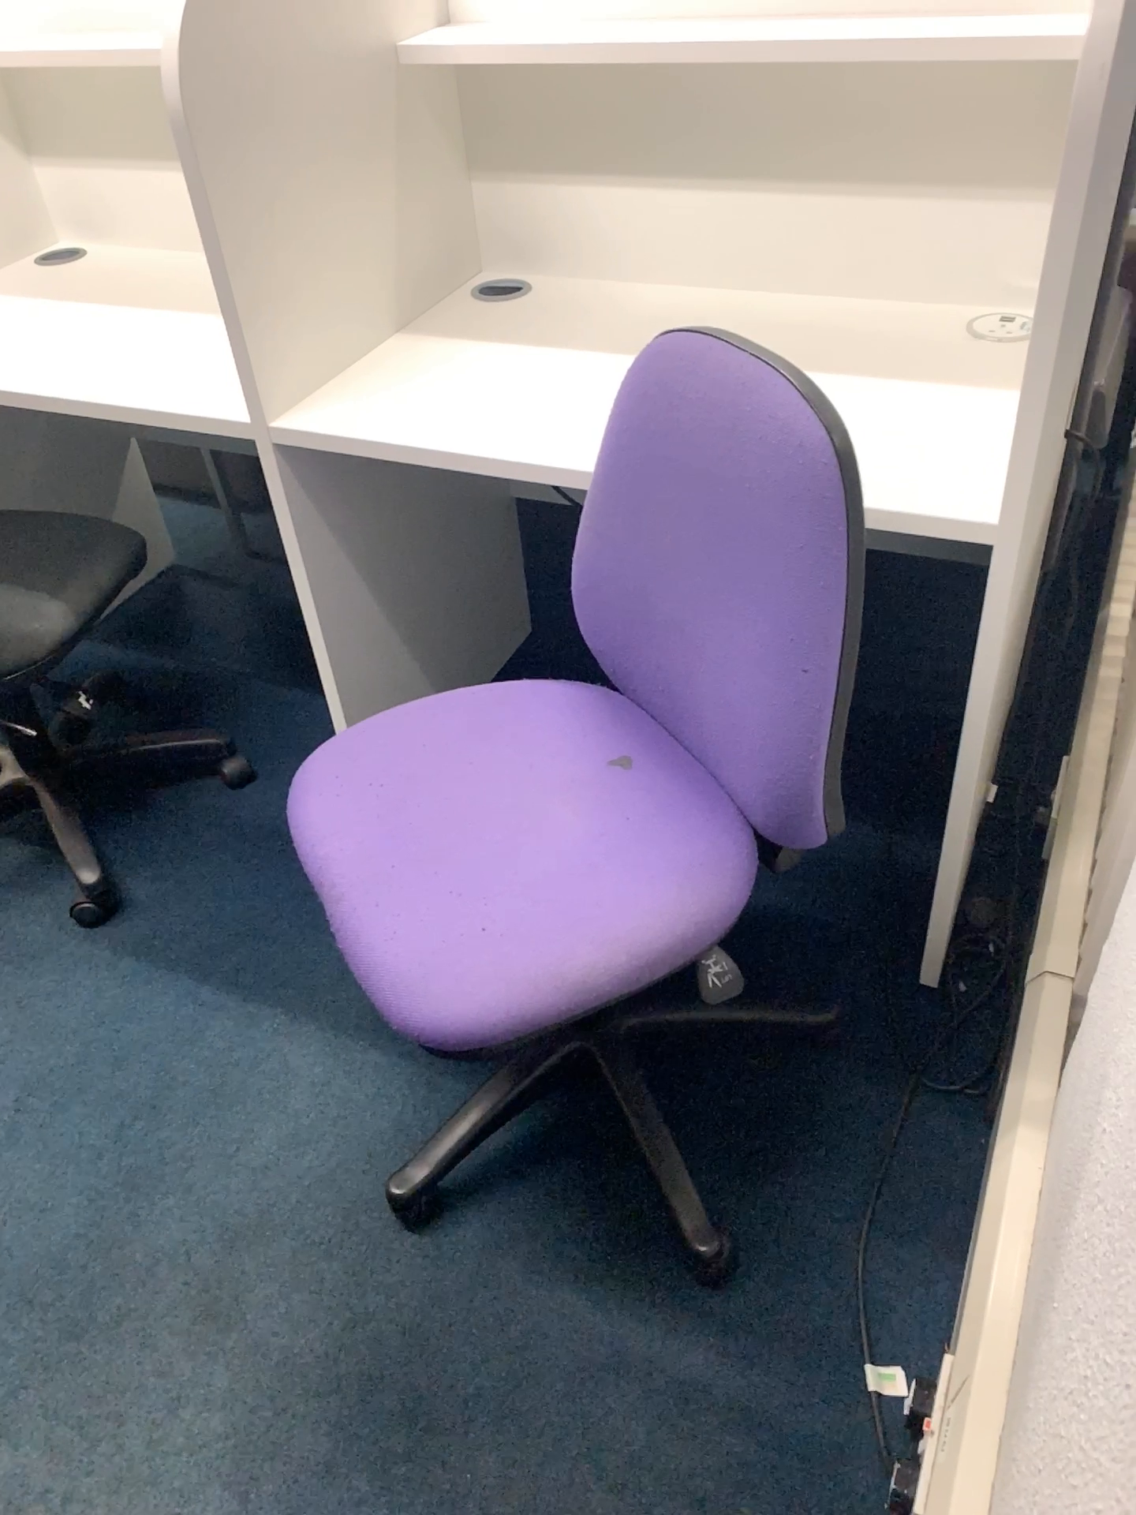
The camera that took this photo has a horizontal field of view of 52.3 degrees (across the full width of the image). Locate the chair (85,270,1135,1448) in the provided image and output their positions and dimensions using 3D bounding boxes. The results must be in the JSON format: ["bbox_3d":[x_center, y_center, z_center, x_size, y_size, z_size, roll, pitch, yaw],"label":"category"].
[{"bbox_3d":[0.002,0.073,1.254,0.651,0.861,0.696,-20,42,-17],"label":"chair"}]
